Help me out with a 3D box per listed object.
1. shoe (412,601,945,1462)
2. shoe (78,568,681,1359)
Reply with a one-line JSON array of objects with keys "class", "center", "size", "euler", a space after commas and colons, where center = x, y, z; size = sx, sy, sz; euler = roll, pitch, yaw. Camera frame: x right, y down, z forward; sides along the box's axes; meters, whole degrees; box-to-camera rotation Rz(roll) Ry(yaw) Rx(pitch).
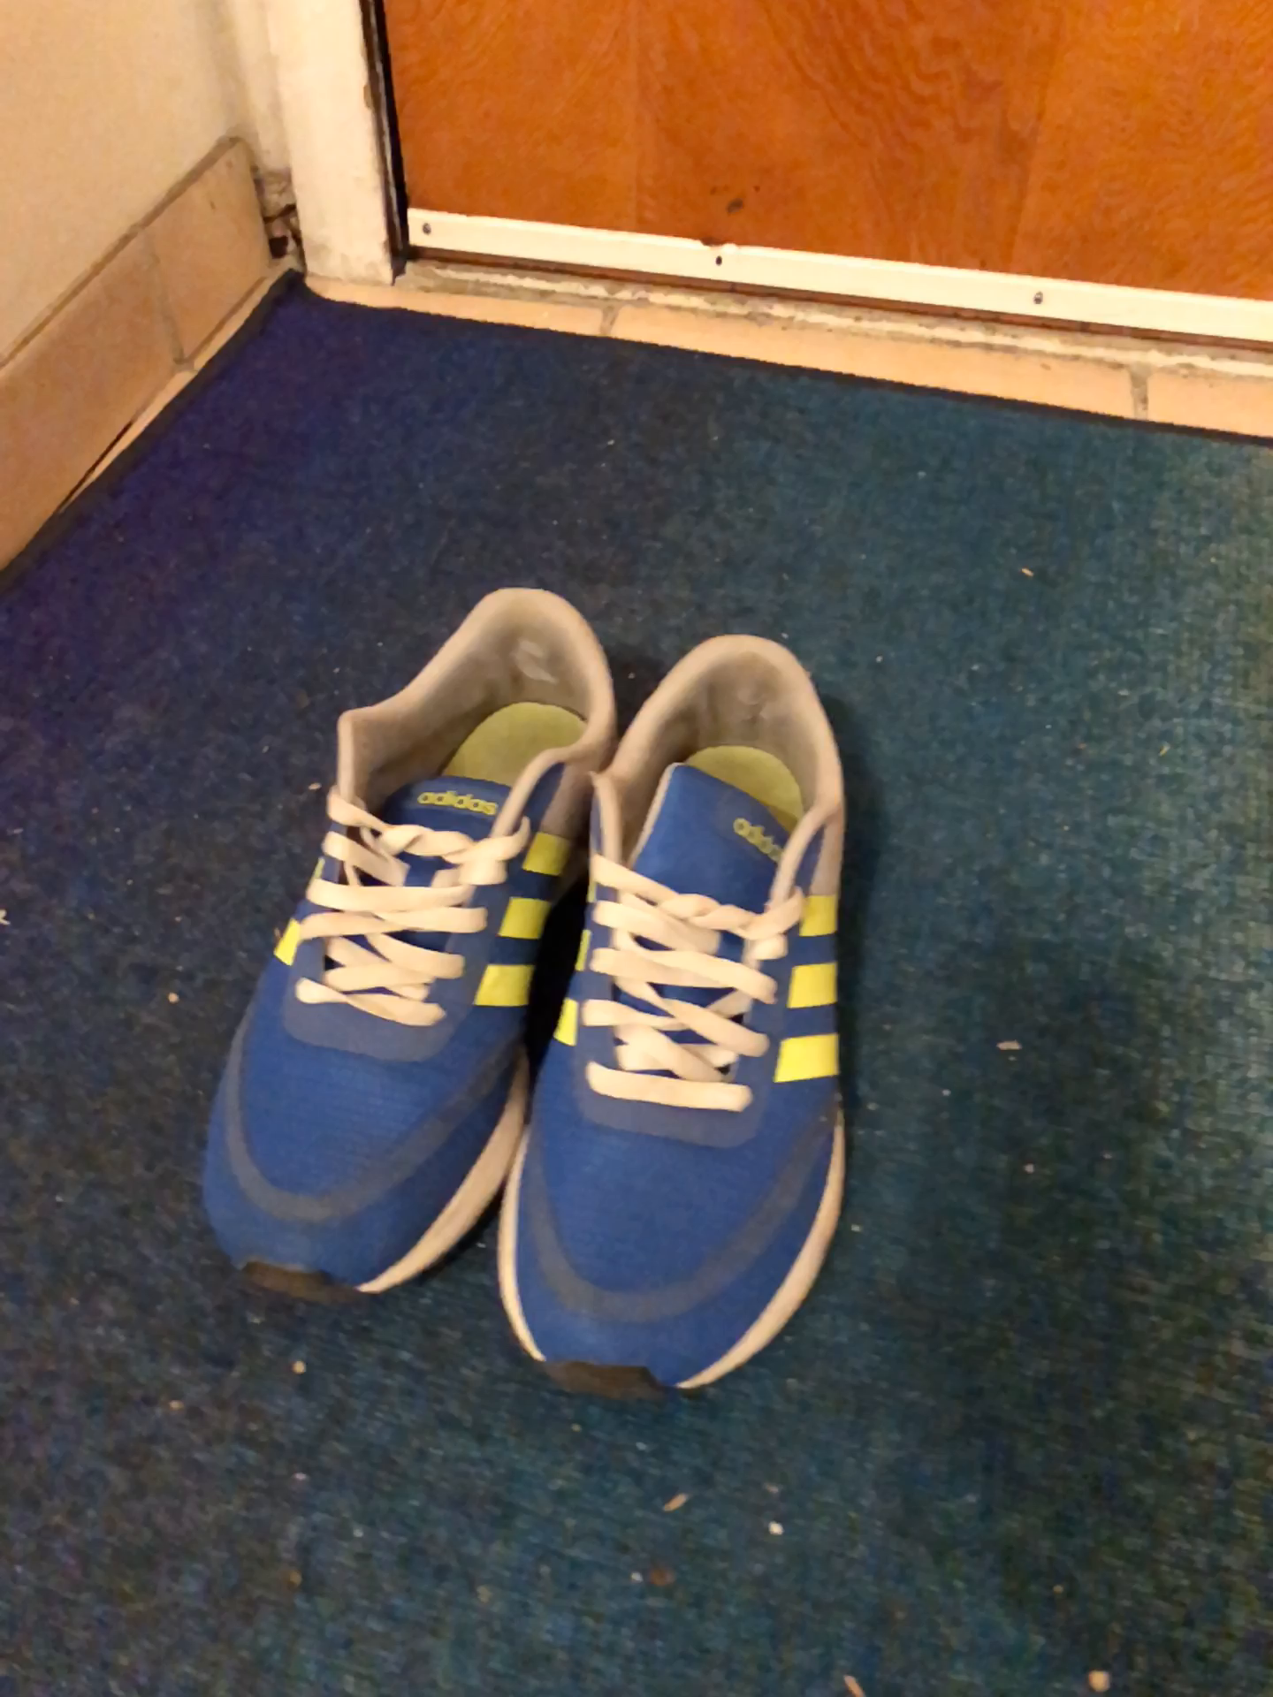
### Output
[{"class": "shoe", "center": [0.027, 0.040, 0.458], "size": [0.110, 0.089, 0.262], "euler": [10, 47, 9]}, {"class": "shoe", "center": [-0.067, 0.022, 0.488], "size": [0.110, 0.089, 0.262], "euler": [10, 47, 9]}]
